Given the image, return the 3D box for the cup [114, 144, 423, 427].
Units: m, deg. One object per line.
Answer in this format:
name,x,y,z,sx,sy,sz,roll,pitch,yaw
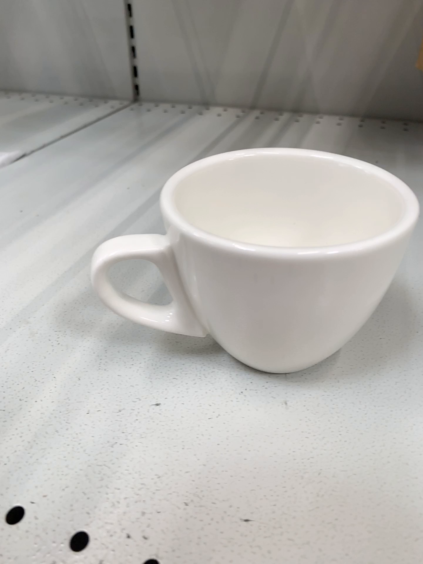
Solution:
cup,0.029,-0.007,0.194,0.128,0.072,0.097,-5,34,-6
